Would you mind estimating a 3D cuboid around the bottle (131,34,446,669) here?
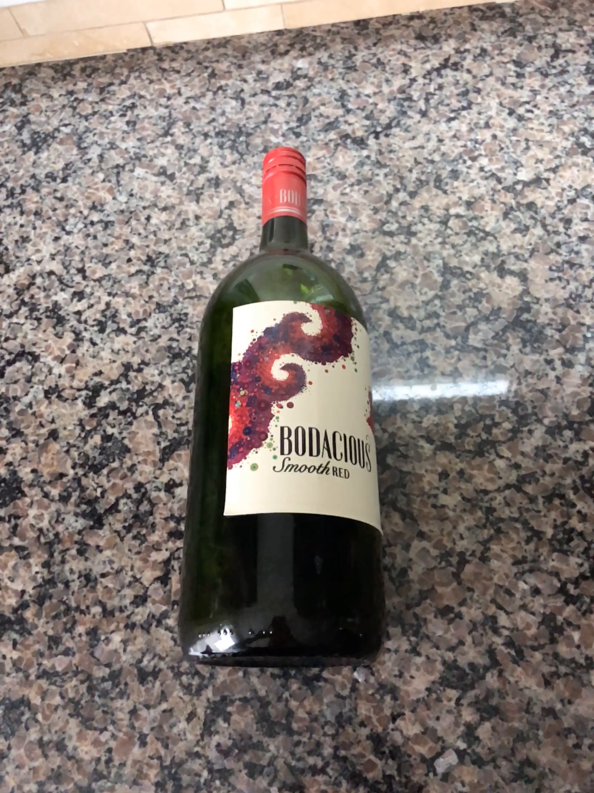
[{"bbox_3d":[-0.005,-0.029,0.386,0.100,0.110,0.340,-25,55,41],"label":"bottle"}]
